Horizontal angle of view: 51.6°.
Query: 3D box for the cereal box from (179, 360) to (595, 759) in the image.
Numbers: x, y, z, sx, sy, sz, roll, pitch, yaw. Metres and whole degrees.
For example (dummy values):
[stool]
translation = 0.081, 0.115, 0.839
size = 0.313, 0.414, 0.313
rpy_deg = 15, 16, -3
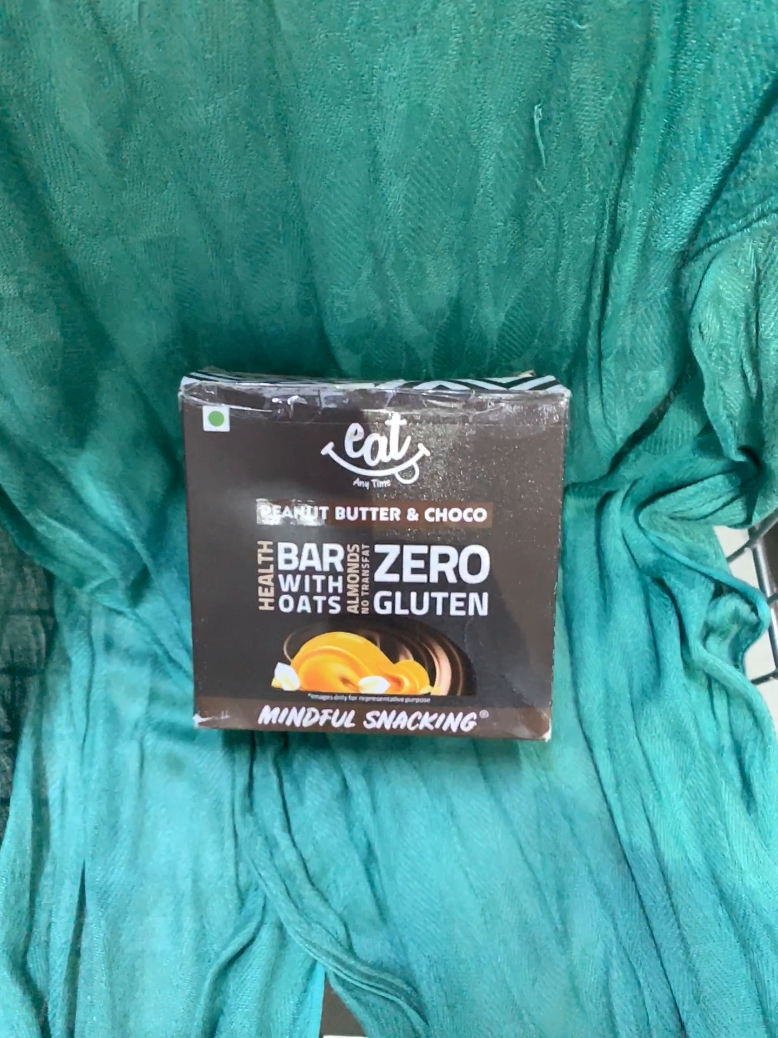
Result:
[cereal box]
translation = -0.001, 0.009, 0.327
size = 0.140, 0.090, 0.140
rpy_deg = 1, 100, 2
